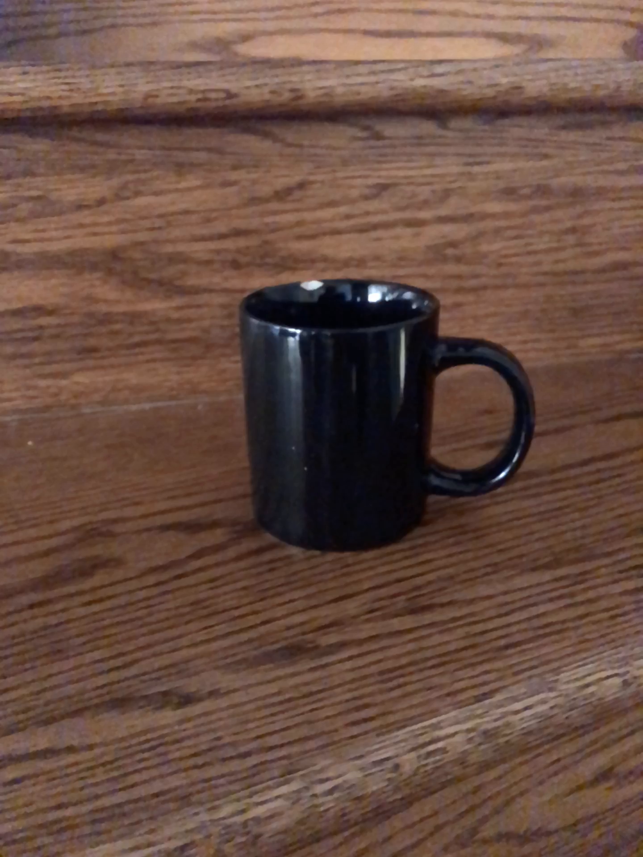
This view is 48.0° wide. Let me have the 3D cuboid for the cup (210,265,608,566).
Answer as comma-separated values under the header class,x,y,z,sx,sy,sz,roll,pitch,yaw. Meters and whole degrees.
class,x,y,z,sx,sy,sz,roll,pitch,yaw
cup,0.032,-0.011,0.309,0.135,0.095,0.092,2,25,4
